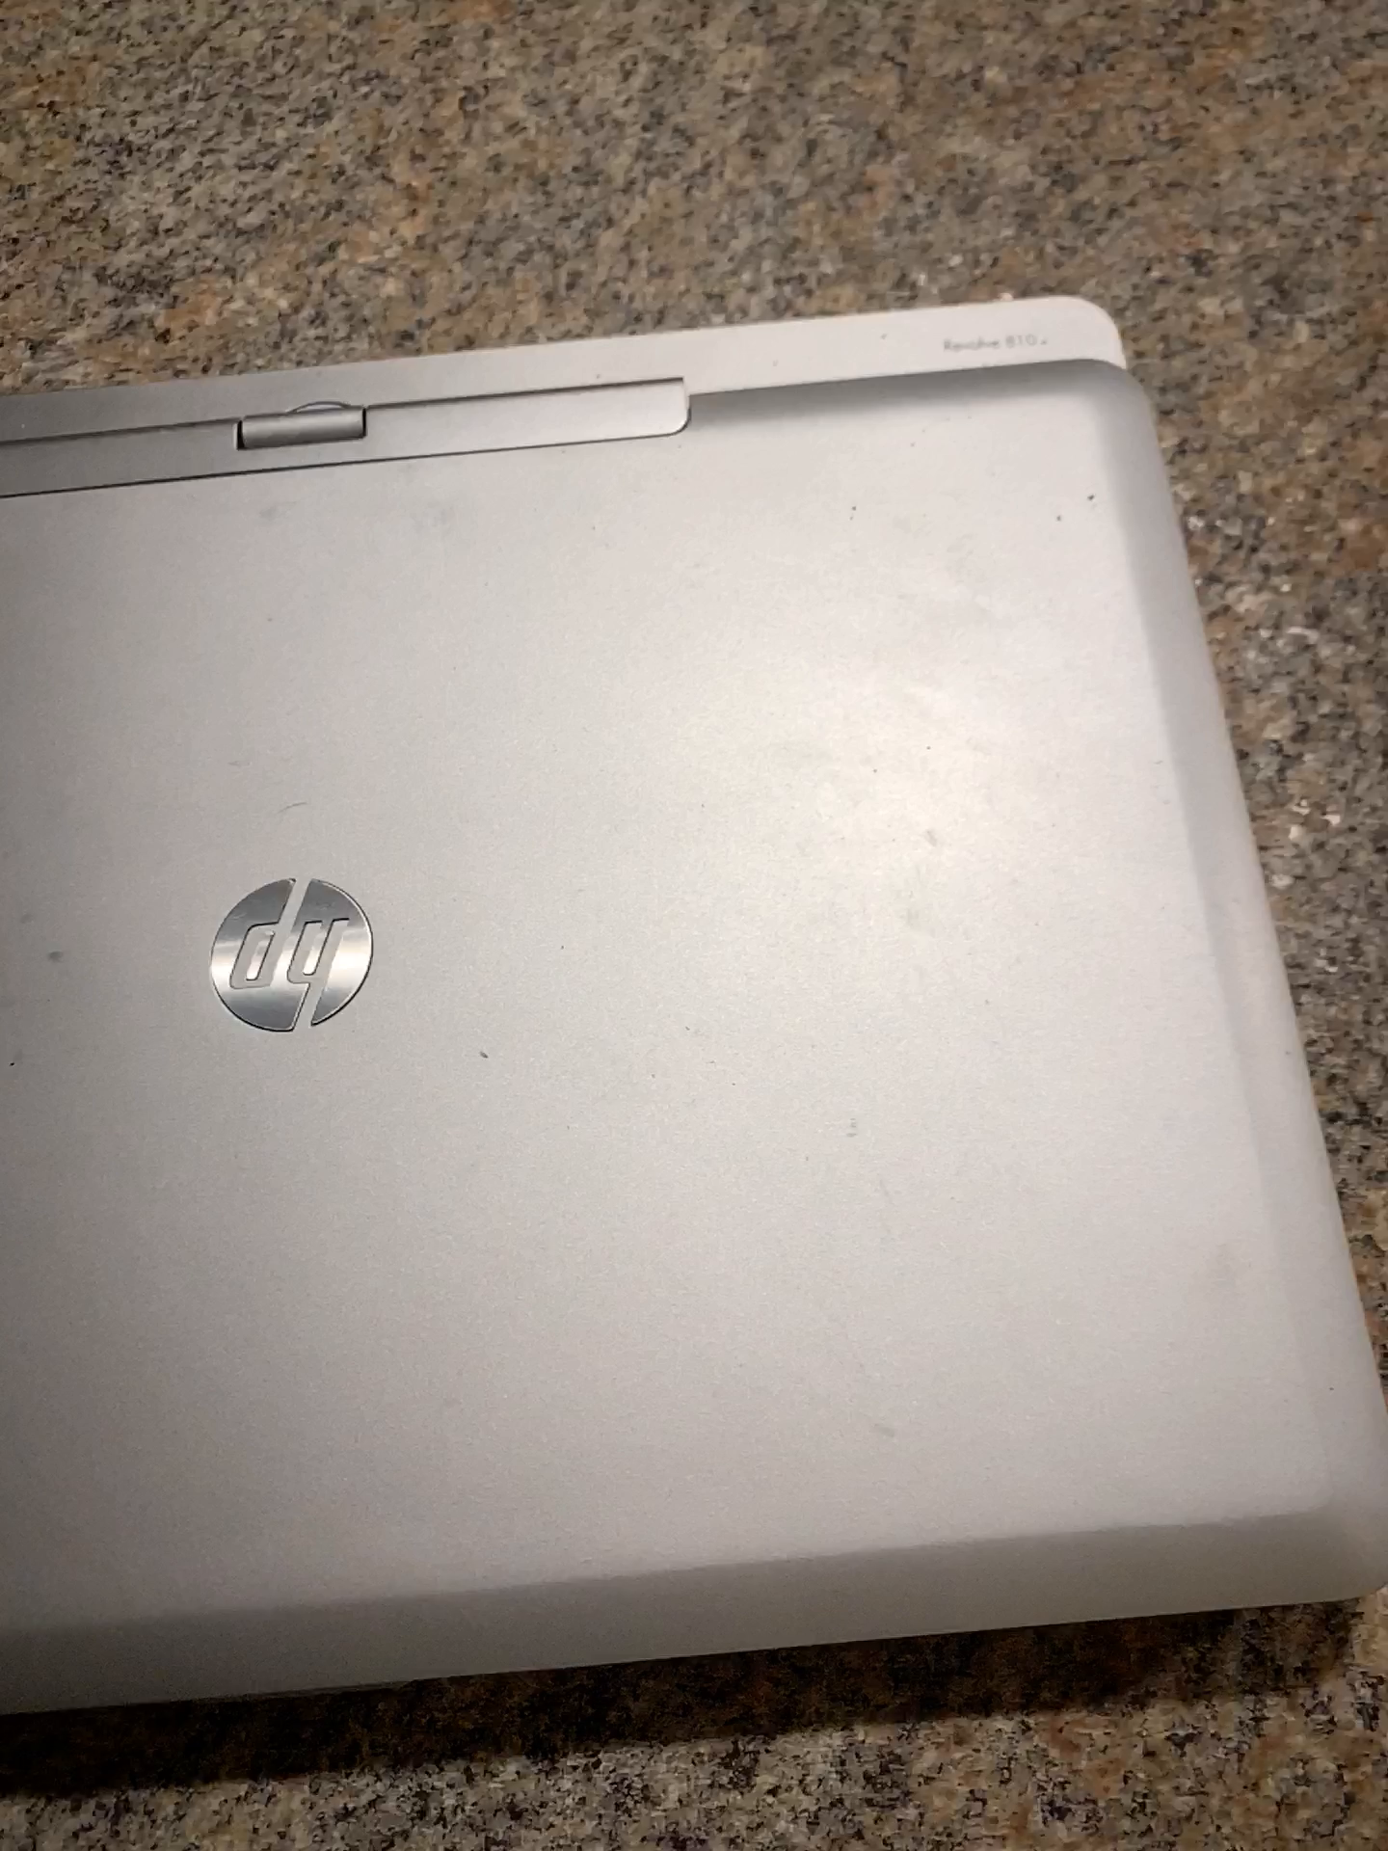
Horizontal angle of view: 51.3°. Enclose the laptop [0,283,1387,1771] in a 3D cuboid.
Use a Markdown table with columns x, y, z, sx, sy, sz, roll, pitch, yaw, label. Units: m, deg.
| x | y | z | sx | sy | sz | roll | pitch | yaw | label |
| --- | --- | --- | --- | --- | --- | --- | --- | --- | --- |
| -0.056 | -0.003 | 0.205 | 0.267 | 0.005 | 0.194 | -5 | 68 | 1 | laptop |
